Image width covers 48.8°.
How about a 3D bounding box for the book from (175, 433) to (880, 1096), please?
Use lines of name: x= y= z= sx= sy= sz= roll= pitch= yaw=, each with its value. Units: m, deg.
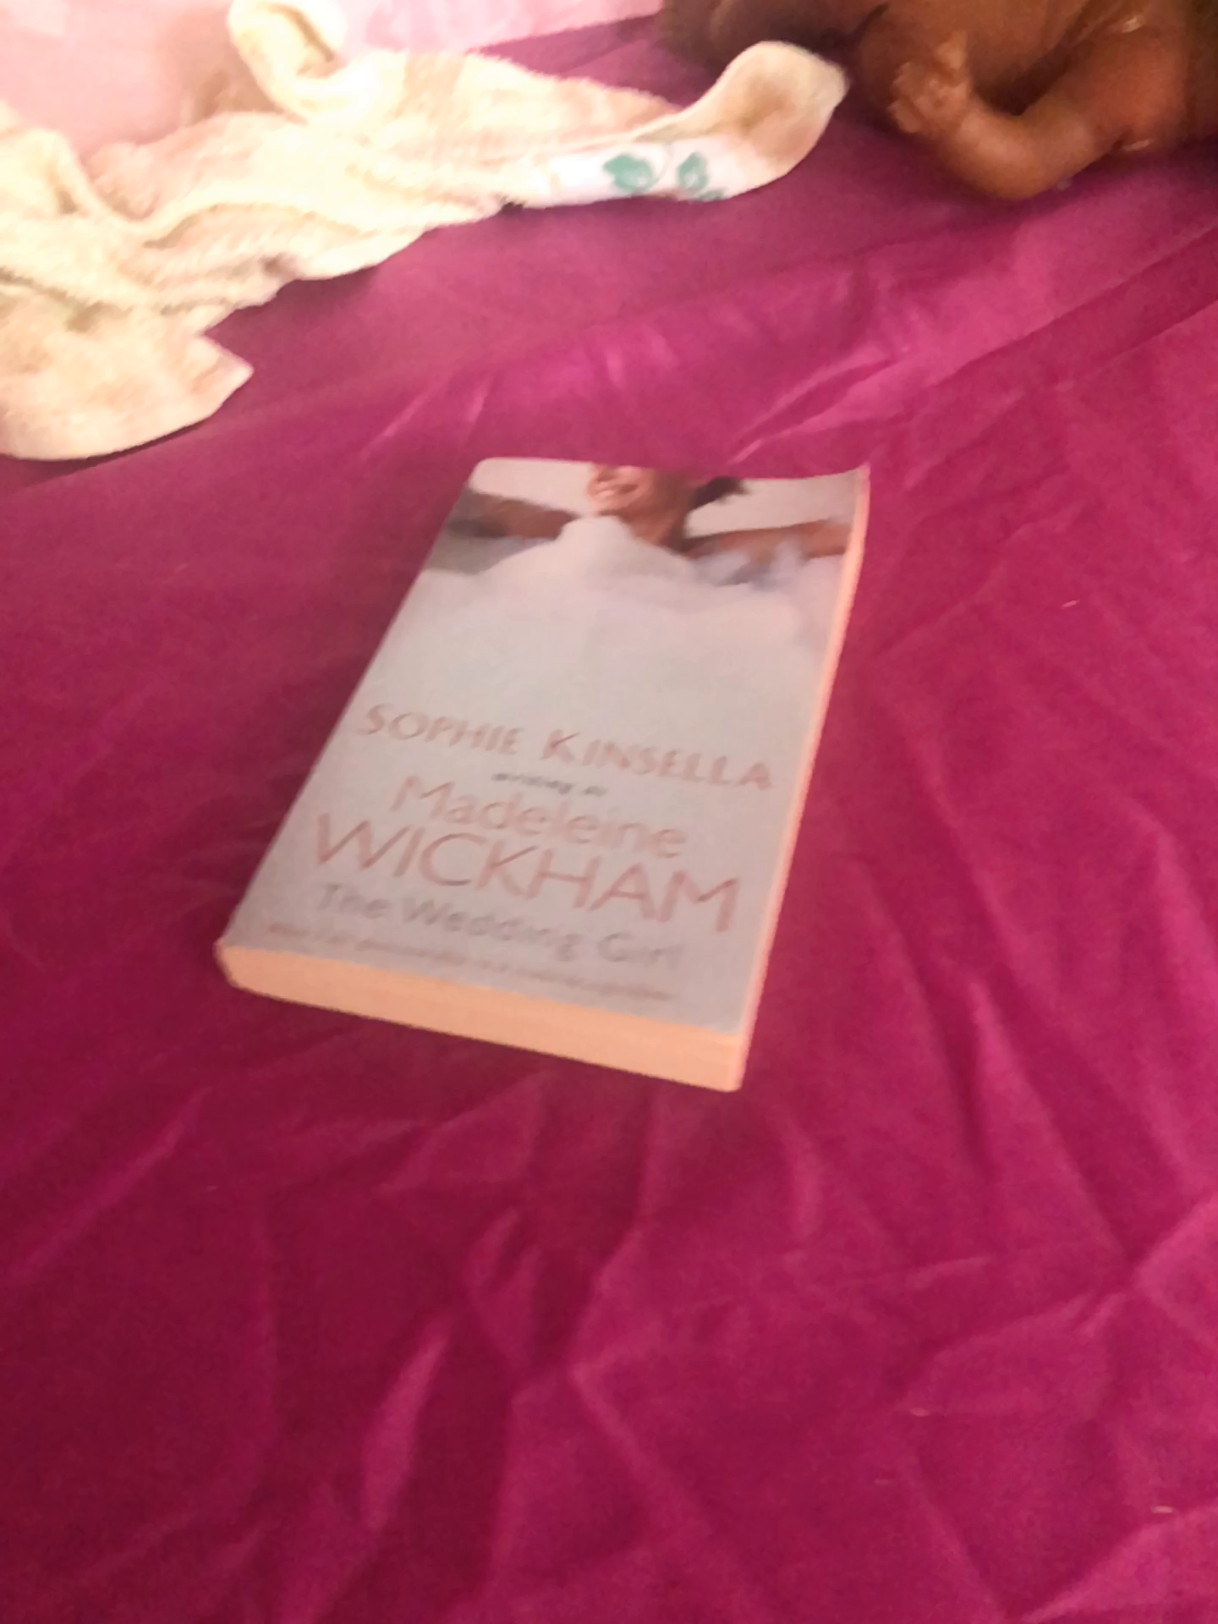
book: x=-0.008 y=-0.030 z=0.372 sx=0.135 sy=0.027 sz=0.203 roll=10 pitch=50 yaw=13
